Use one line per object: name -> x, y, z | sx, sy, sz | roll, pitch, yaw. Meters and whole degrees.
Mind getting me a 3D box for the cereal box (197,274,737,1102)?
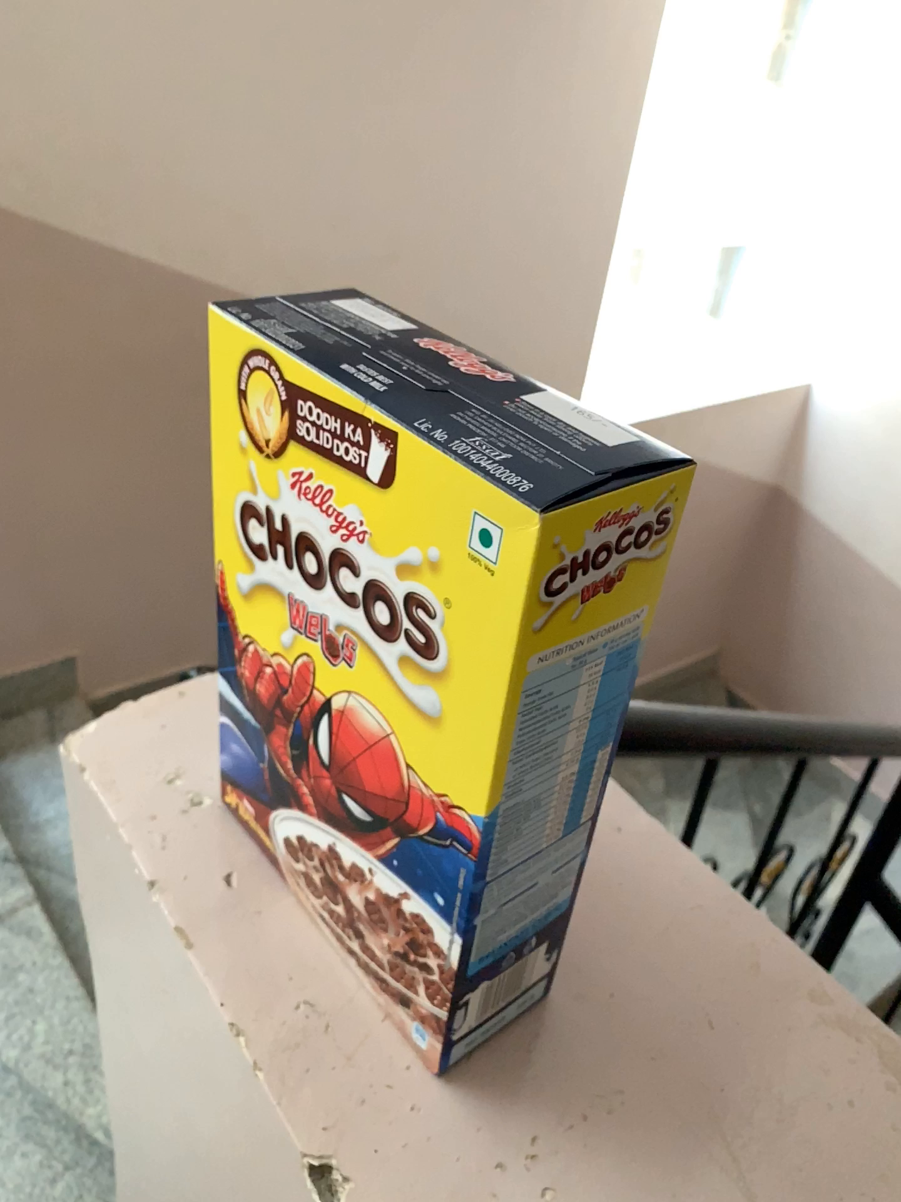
cereal box -> -0.019, 0.027, 0.364 | 0.070, 0.248, 0.191 | -18, 40, -34
